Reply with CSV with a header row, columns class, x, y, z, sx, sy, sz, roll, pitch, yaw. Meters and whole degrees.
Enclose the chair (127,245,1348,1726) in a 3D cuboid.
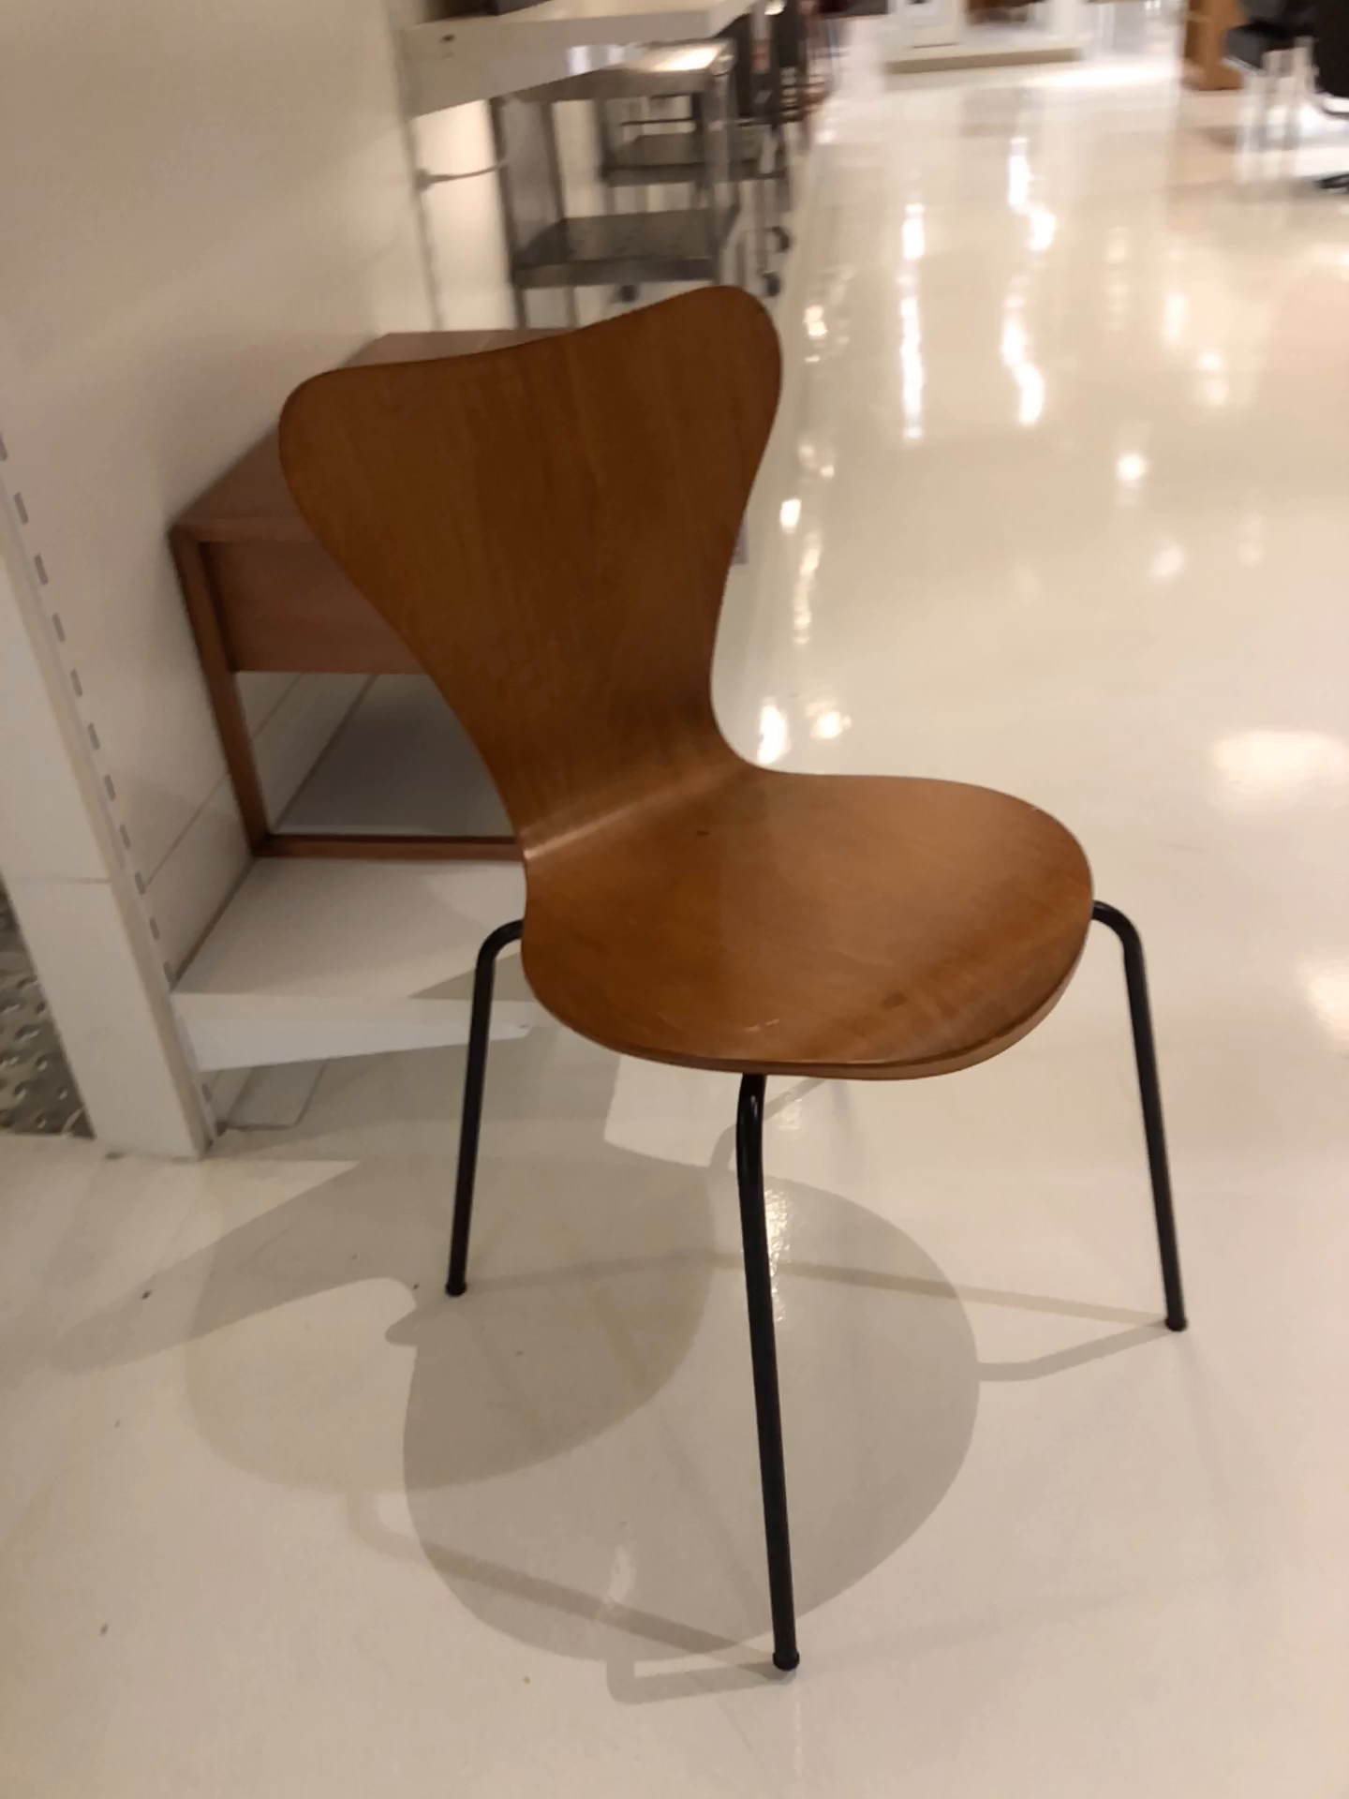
class,x,y,z,sx,sy,sz,roll,pitch,yaw
chair,0.062,0.009,1.121,0.542,0.794,0.573,-26,39,-29
